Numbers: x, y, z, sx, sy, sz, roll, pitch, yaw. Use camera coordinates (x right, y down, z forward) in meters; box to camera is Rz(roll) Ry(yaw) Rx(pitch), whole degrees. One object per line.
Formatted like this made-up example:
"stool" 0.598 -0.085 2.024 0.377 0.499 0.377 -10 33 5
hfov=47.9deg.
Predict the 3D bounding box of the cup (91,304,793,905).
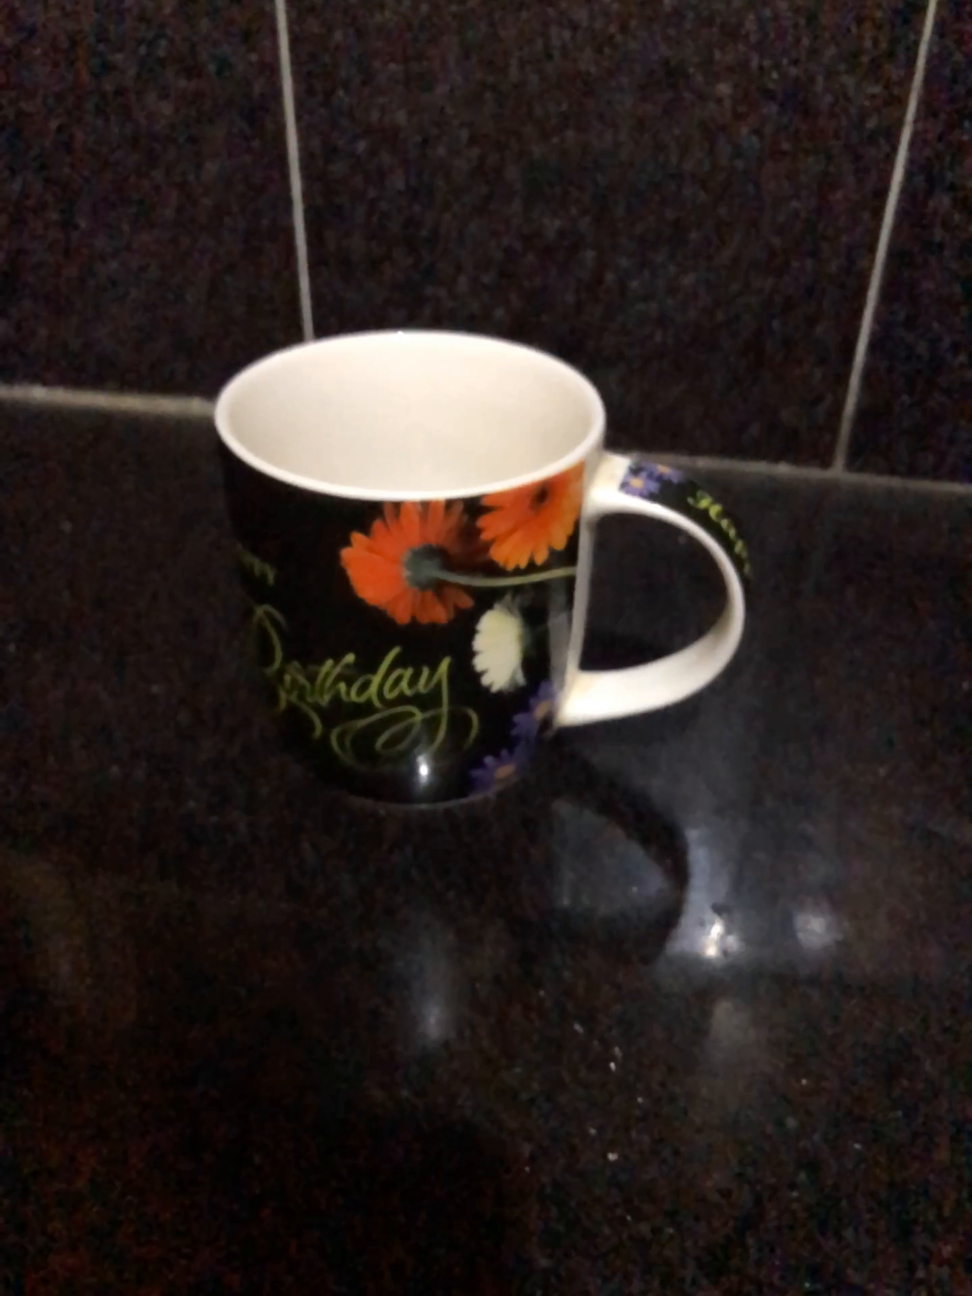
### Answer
"cup" -0.003 -0.016 0.261 0.130 0.089 0.091 9 38 11
